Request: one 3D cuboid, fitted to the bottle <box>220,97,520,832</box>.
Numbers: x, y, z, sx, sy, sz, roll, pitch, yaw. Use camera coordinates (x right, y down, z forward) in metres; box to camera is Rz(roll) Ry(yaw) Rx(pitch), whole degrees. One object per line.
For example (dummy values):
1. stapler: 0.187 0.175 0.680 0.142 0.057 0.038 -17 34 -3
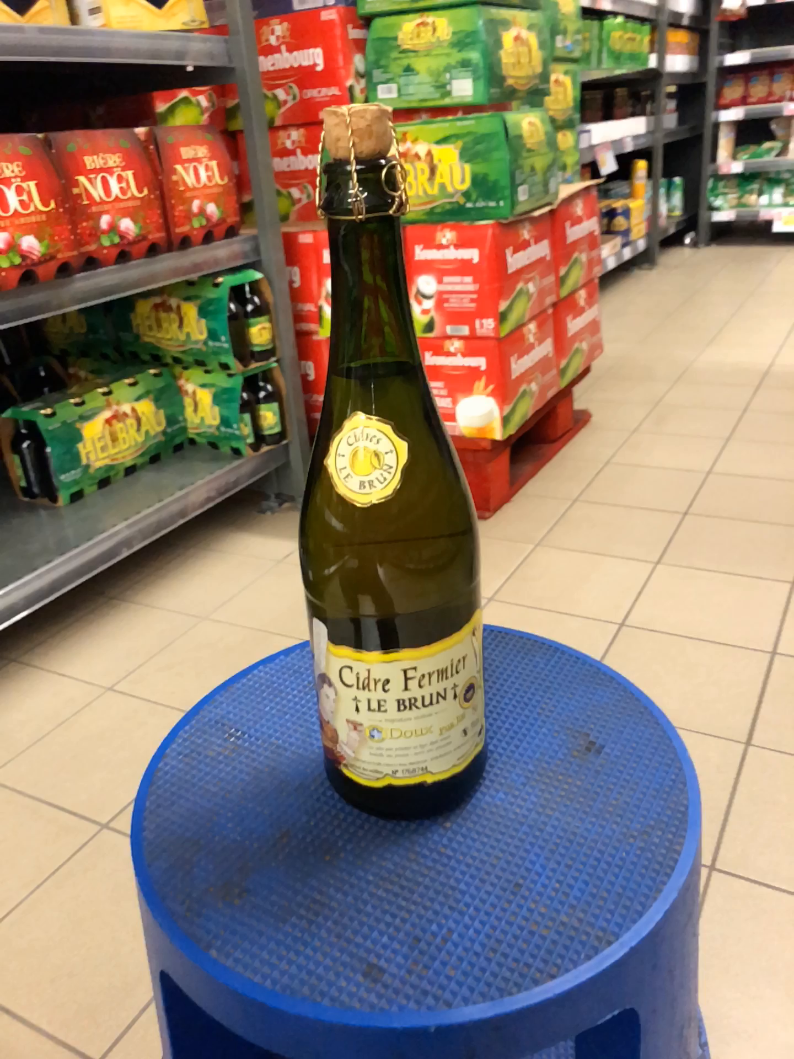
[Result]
1. bottle: -0.003 -0.019 0.386 0.090 0.298 0.090 -4 24 2
